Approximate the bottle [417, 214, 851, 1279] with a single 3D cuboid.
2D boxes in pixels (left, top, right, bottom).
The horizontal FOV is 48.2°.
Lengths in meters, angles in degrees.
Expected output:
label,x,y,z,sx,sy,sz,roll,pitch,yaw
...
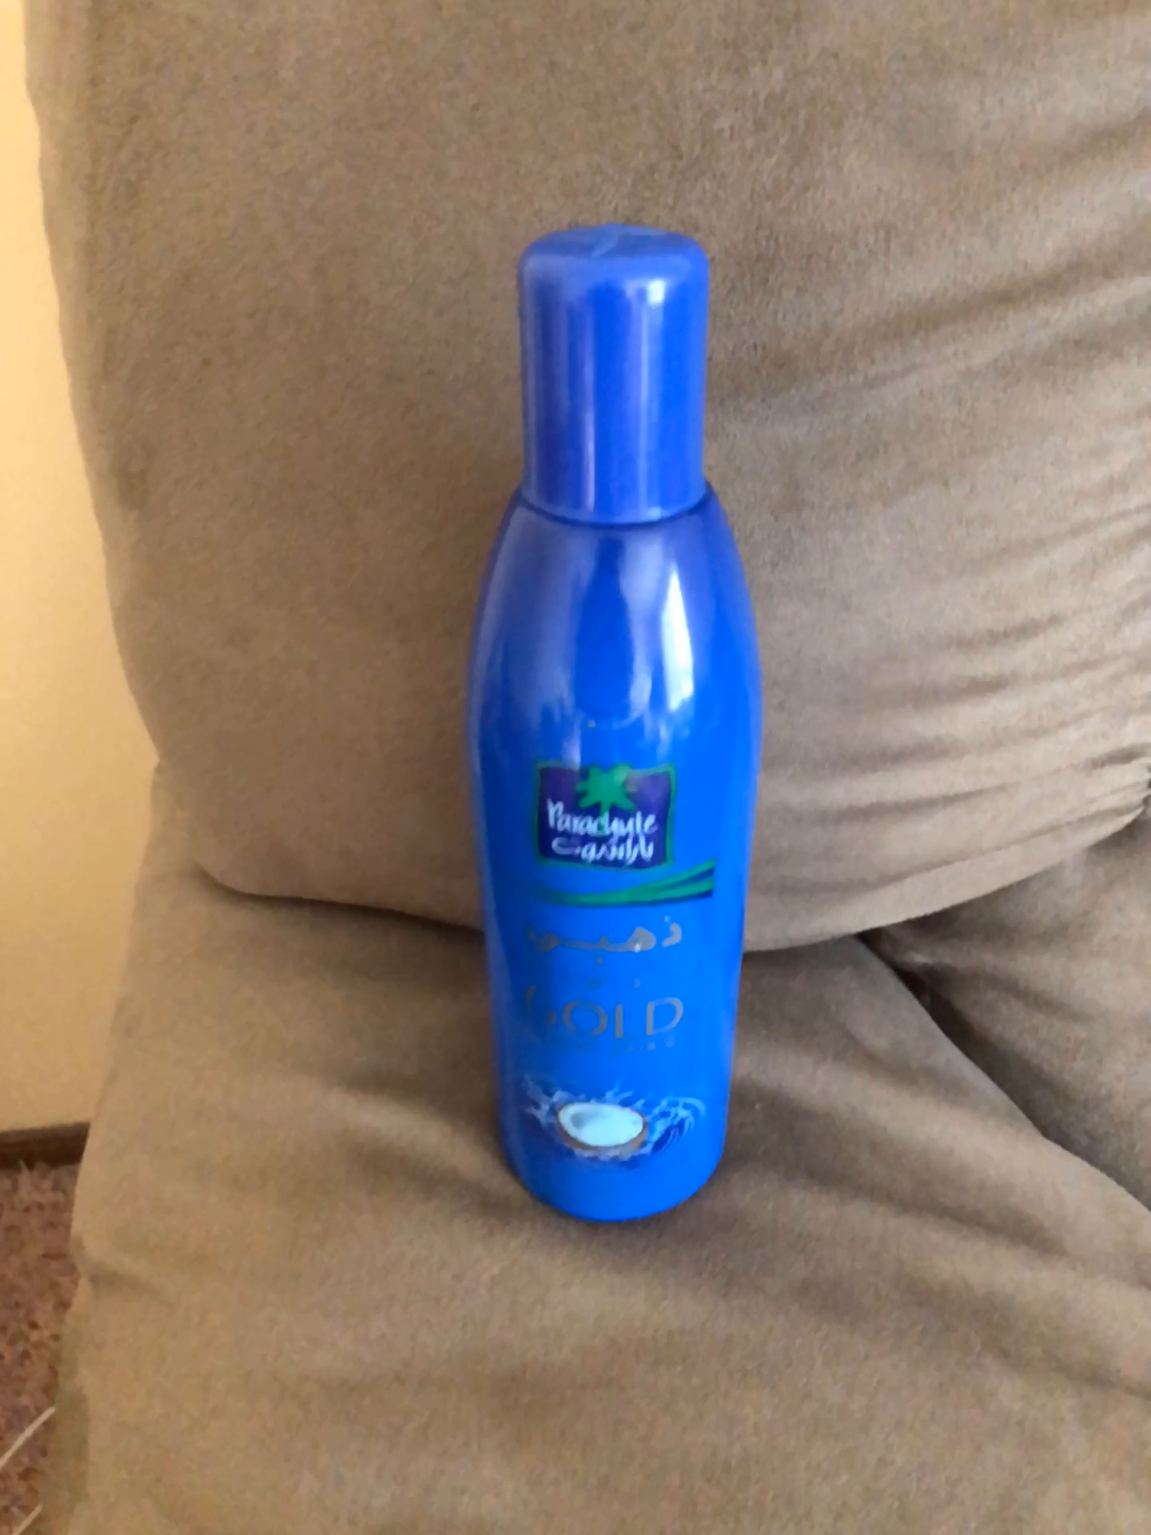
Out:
label,x,y,z,sx,sy,sz,roll,pitch,yaw
bottle,0.008,0.007,0.218,0.050,0.180,0.050,0,33,0
